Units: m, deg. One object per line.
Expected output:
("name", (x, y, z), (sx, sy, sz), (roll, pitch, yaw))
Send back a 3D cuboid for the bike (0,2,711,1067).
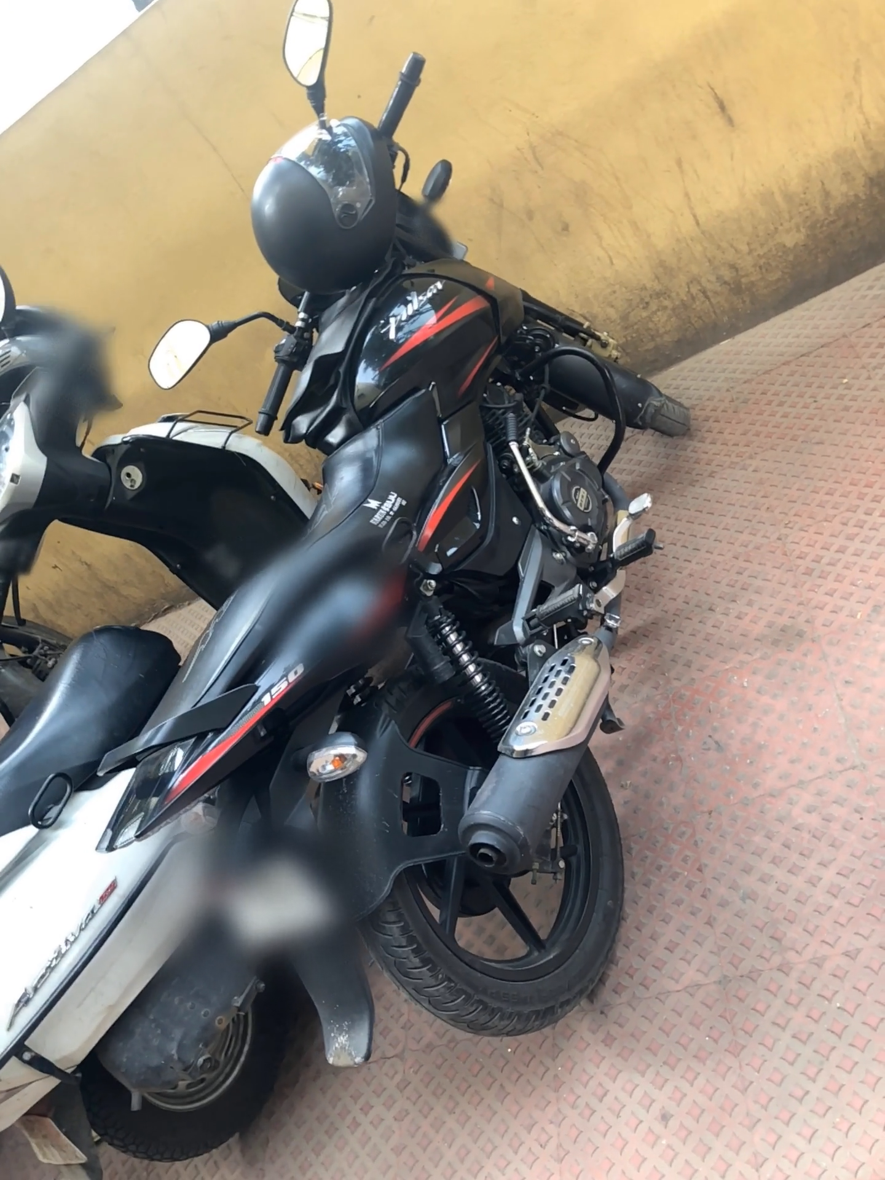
("bike", (-0.197, -0.146, 1.856), (0.828, 1.057, 1.610), (-22, 39, 27))
